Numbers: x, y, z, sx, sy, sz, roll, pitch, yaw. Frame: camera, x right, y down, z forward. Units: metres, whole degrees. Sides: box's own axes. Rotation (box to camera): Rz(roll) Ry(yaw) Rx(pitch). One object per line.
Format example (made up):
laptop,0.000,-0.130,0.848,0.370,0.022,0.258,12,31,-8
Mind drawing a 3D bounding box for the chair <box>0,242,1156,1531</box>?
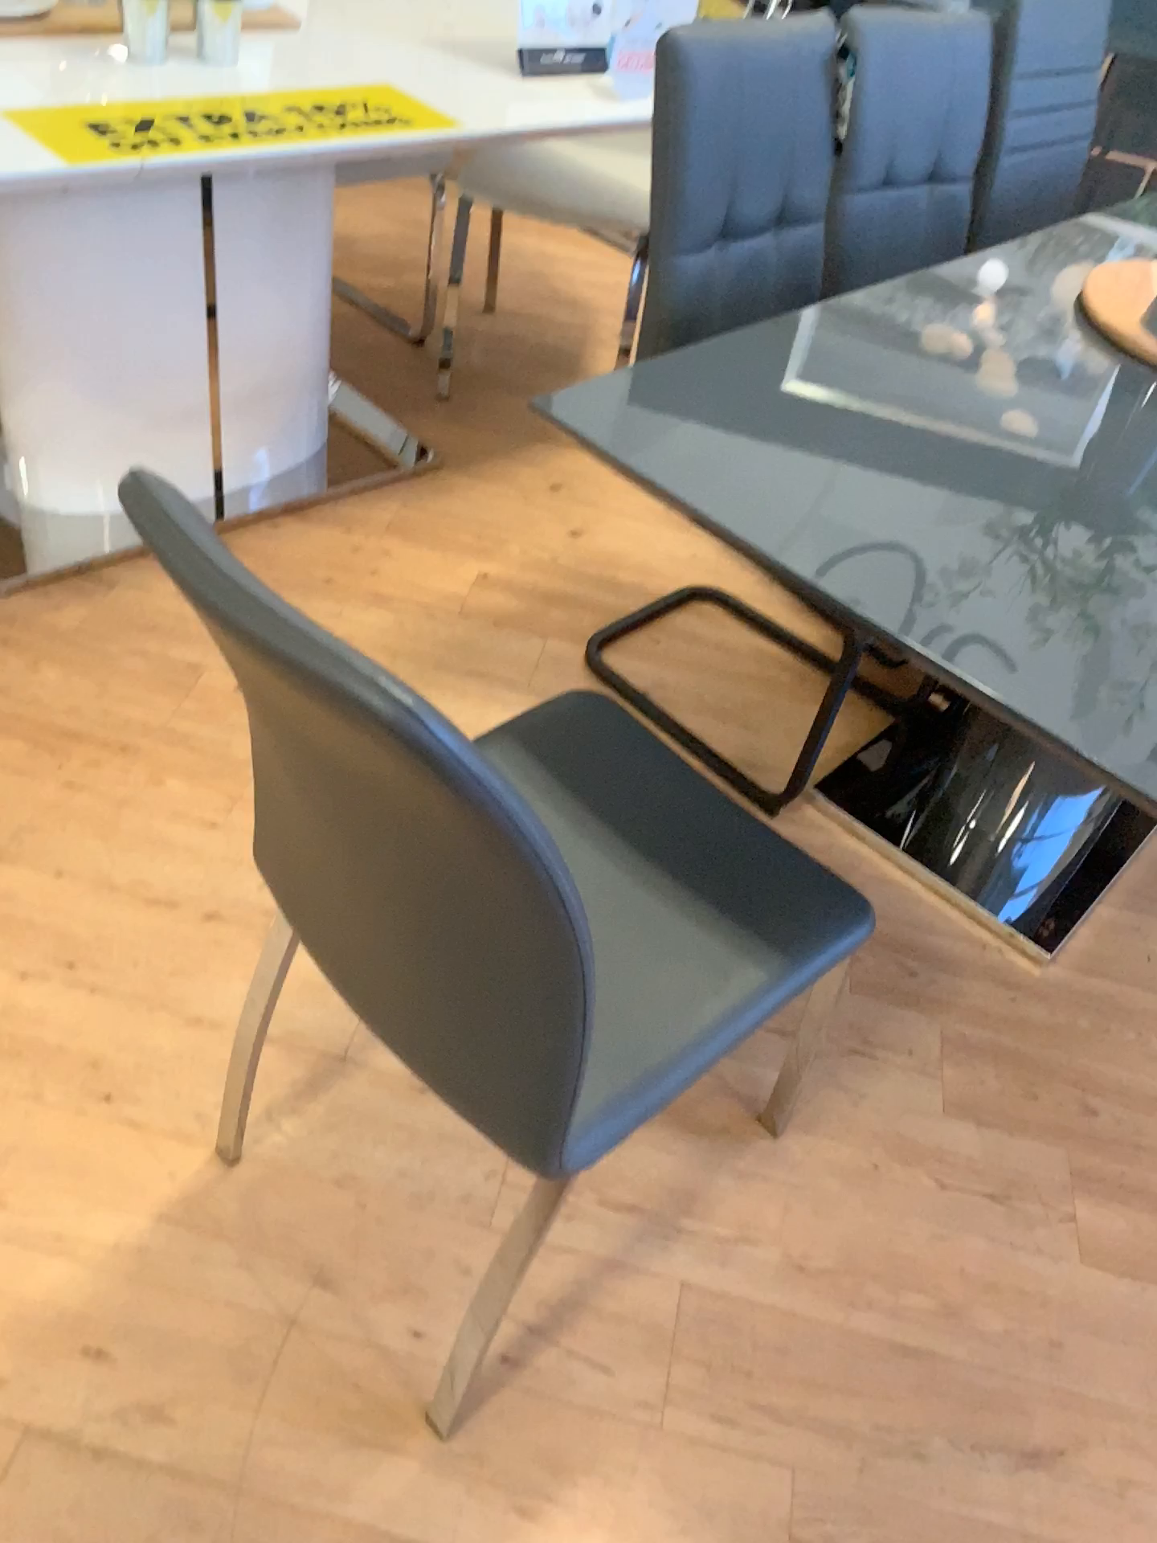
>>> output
chair,-0.038,0.108,1.075,0.643,0.892,0.482,-29,57,-36
